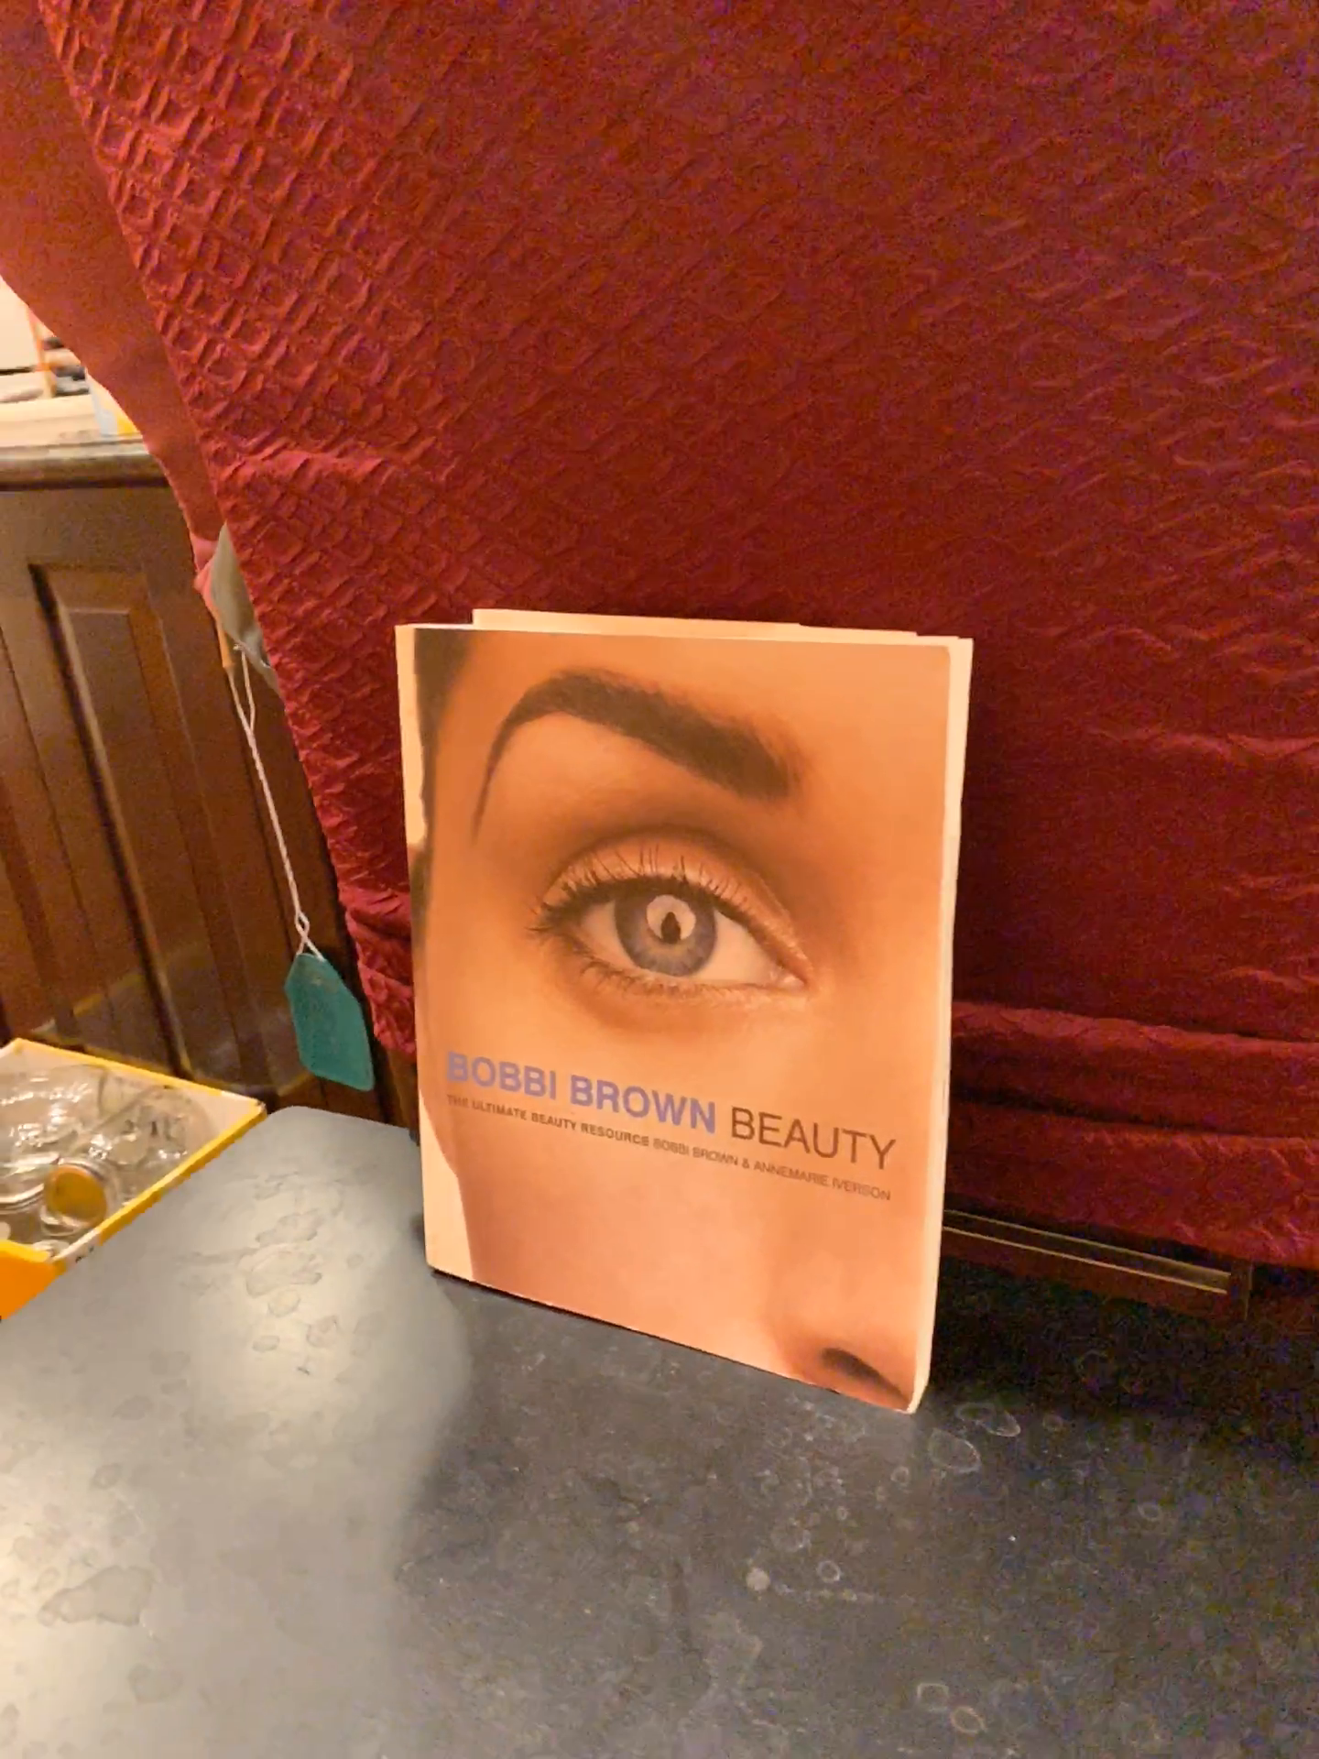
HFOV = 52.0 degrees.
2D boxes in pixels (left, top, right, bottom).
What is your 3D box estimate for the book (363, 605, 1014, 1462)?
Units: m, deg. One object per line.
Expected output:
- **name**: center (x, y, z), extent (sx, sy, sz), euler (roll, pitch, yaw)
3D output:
- **book**: center (0.001, 0.038, 0.424), extent (0.200, 0.239, 0.030), euler (7, 15, 29)
